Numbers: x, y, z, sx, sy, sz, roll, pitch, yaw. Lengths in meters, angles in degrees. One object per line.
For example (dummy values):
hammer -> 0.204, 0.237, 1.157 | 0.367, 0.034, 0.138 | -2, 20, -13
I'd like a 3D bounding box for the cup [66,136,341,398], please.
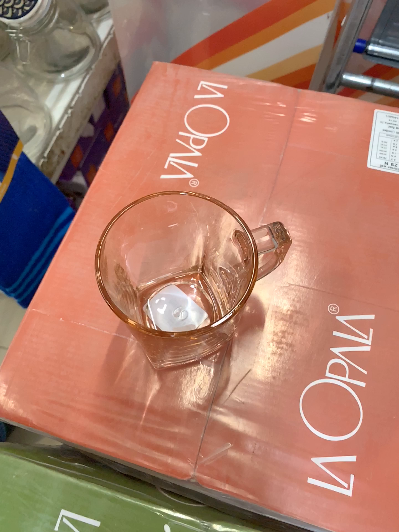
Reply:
cup -> -0.001, 0.008, 0.234 | 0.100, 0.110, 0.080 | -20, 66, -9
